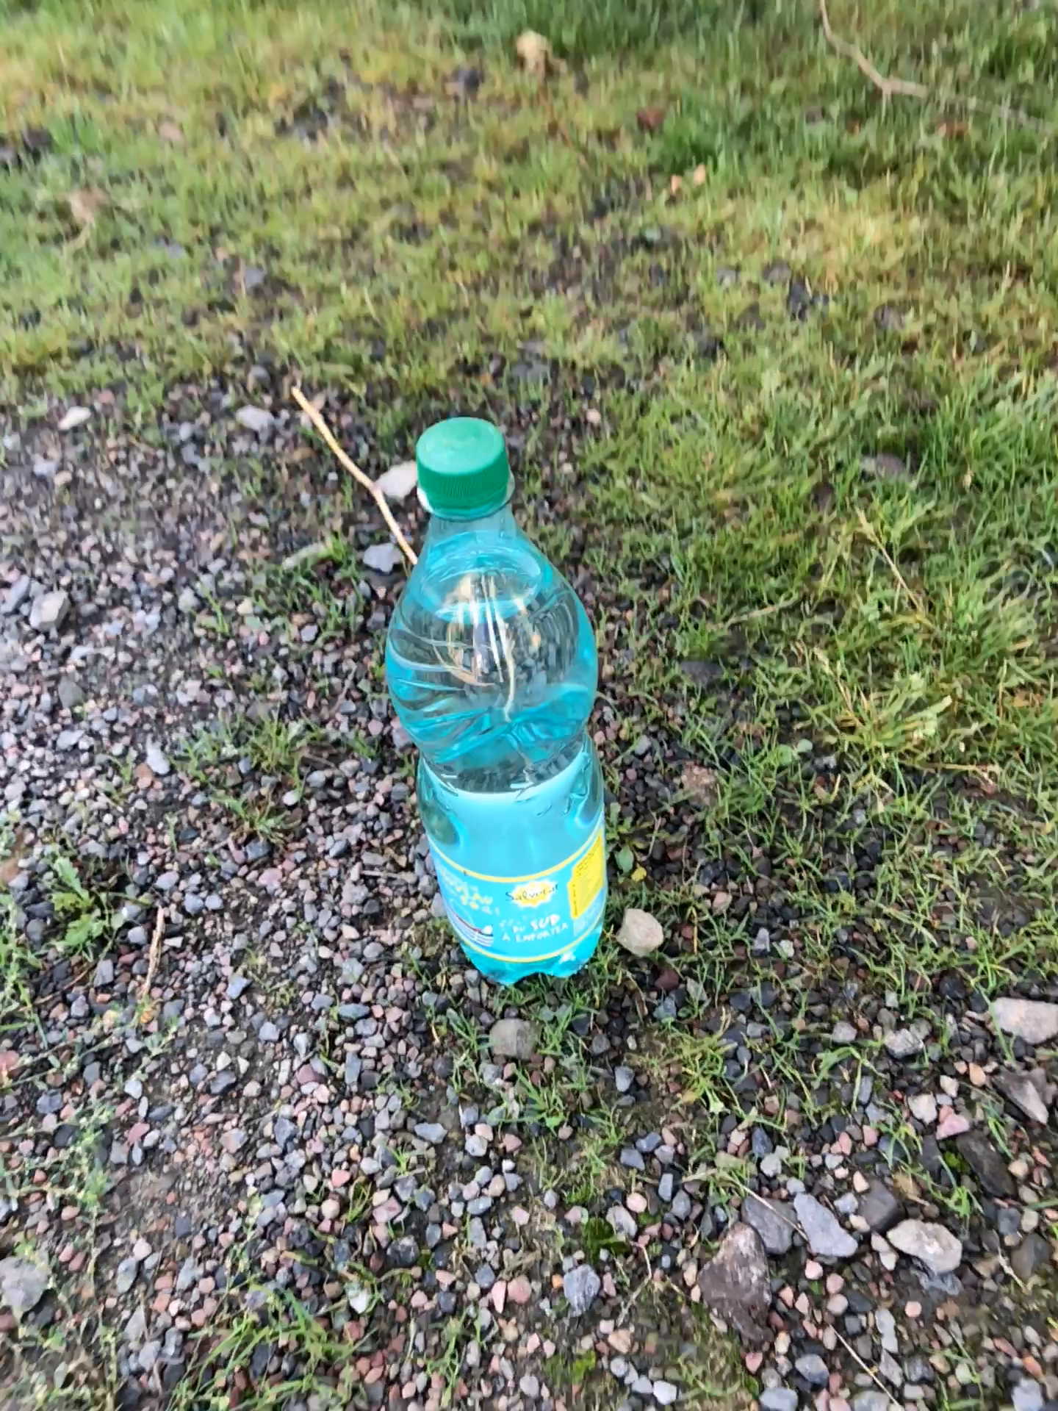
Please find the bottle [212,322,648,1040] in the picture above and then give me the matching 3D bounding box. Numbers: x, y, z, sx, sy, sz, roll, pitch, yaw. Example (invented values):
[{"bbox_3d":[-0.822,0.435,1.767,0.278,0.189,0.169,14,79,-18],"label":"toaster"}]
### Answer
[{"bbox_3d":[-0.019,0.012,0.482,0.090,0.298,0.100,30,60,28],"label":"bottle"}]
